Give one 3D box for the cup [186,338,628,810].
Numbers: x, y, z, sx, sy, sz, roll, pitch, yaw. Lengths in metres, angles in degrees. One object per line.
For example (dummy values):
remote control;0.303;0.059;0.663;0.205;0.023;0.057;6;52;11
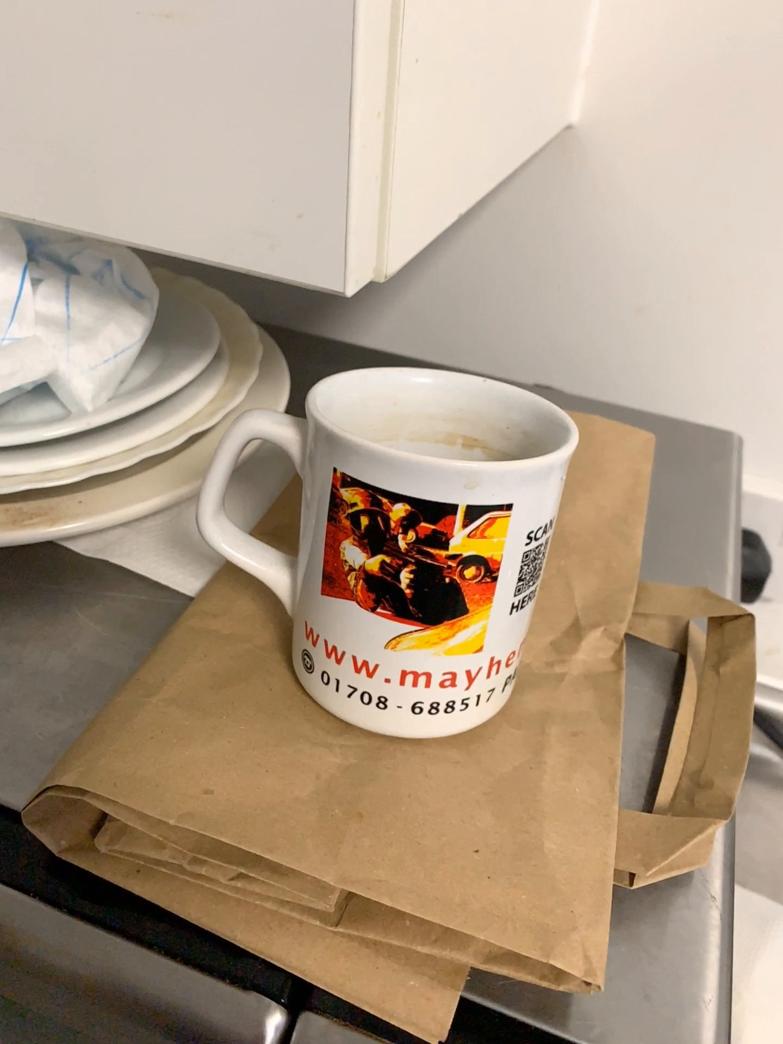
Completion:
cup;0.005;0.008;0.239;0.100;0.088;0.078;15;28;13
